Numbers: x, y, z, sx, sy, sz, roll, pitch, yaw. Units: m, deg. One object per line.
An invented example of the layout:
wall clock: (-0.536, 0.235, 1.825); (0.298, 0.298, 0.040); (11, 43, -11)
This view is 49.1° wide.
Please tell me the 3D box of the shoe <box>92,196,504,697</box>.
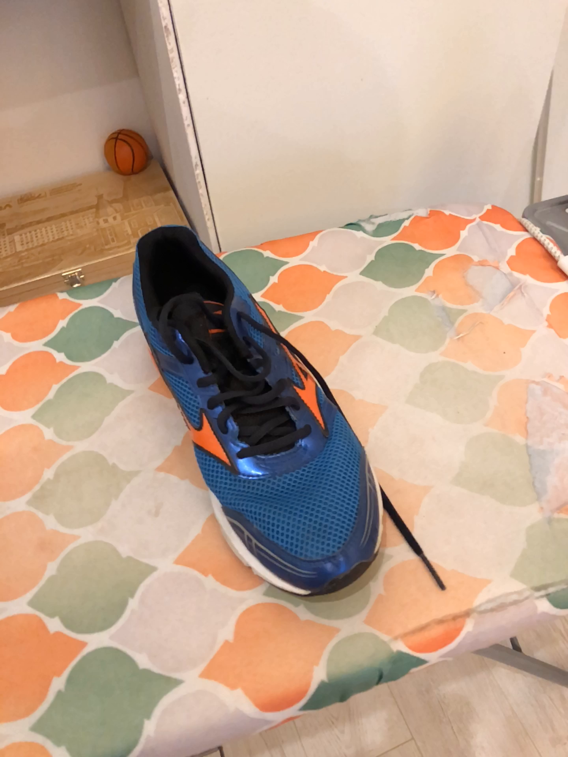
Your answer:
shoe: (-0.013, 0.021, 0.421); (0.120, 0.109, 0.312); (-24, 53, -13)
